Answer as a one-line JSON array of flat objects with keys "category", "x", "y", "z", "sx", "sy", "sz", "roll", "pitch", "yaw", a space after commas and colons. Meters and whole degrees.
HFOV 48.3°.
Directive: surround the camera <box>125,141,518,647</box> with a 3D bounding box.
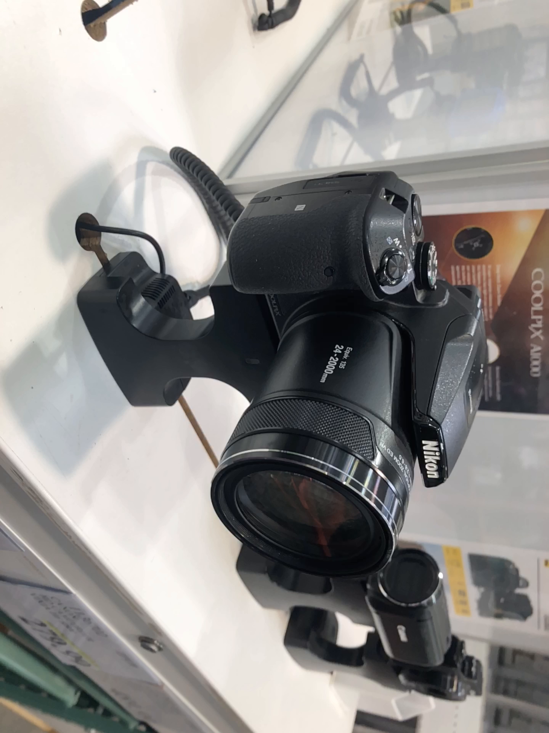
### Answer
[{"category": "camera", "x": 0.044, "y": 0.006, "z": 0.270, "sx": 0.150, "sy": 0.109, "sz": 0.140, "roll": -64, "pitch": 146, "yaw": -43}]
